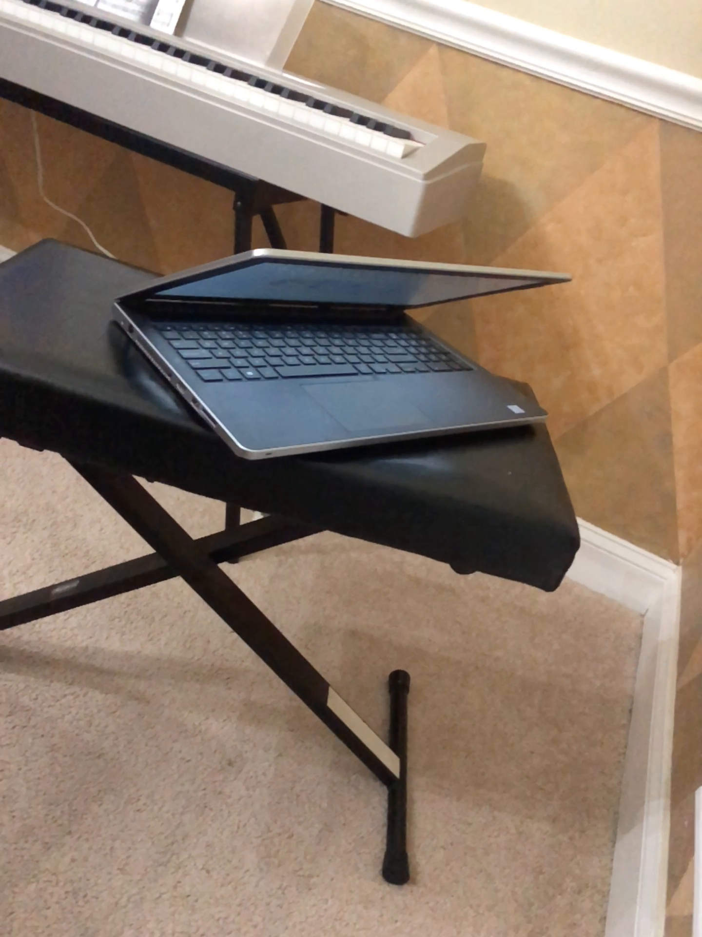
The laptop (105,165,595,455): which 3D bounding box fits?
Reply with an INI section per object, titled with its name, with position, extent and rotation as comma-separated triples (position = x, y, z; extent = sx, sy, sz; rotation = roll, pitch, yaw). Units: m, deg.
[laptop]
position = 0.003, -0.160, 0.751
extent = 0.377, 0.132, 0.256
rotation = -9, 41, -39
